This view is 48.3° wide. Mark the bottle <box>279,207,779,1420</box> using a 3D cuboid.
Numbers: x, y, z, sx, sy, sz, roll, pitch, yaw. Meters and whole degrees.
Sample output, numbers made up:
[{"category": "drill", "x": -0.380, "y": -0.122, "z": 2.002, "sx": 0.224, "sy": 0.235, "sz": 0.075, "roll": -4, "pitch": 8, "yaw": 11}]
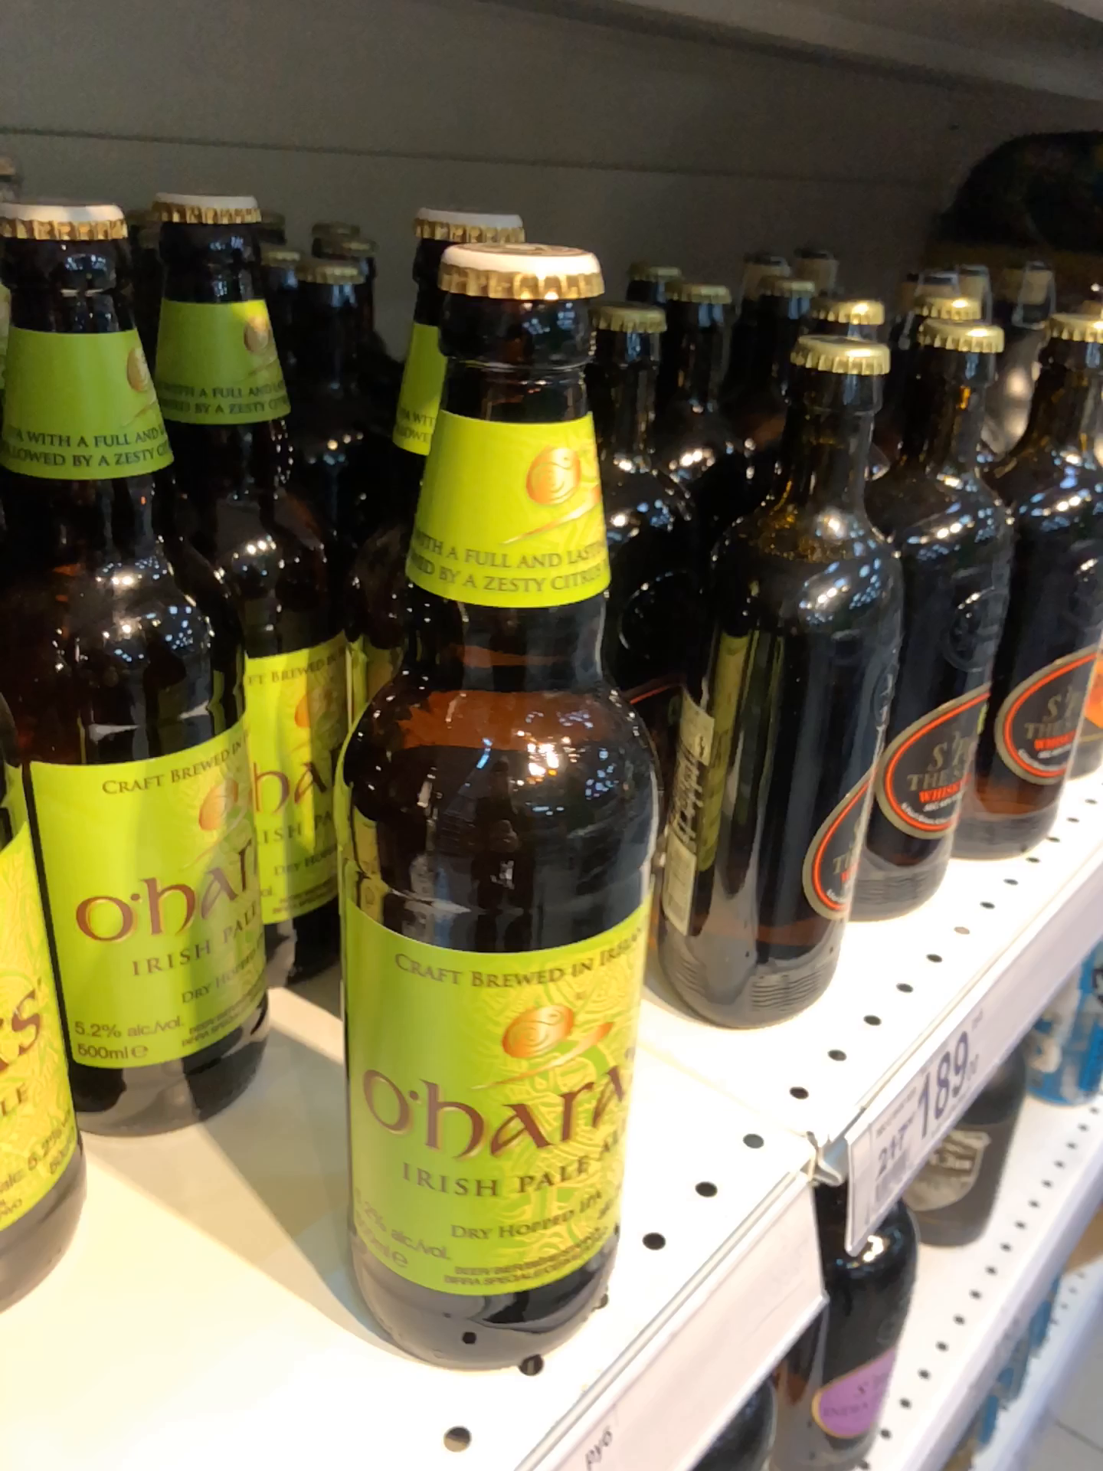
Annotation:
[{"category": "bottle", "x": -0.015, "y": 0.024, "z": 0.268, "sx": 0.070, "sy": 0.250, "sz": 0.070, "roll": 3, "pitch": 25, "yaw": -1}]
